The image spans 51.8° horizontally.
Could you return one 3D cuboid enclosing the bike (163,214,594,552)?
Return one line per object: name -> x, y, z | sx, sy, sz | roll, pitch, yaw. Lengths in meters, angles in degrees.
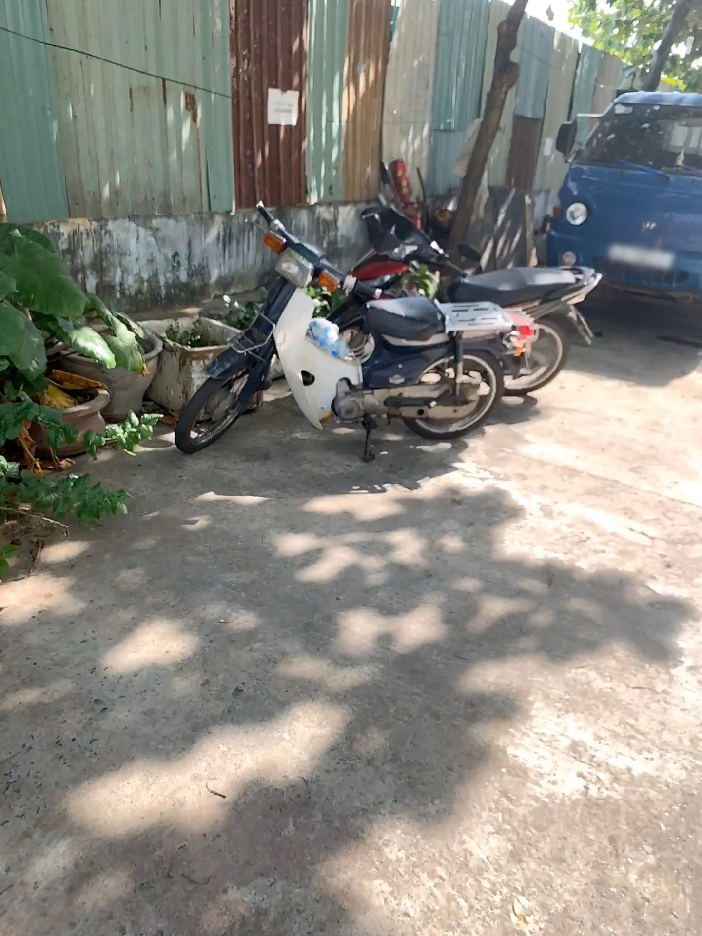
bike -> 0.070, -0.422, 2.926 | 1.476, 1.024, 0.655 | -9, 27, -22
